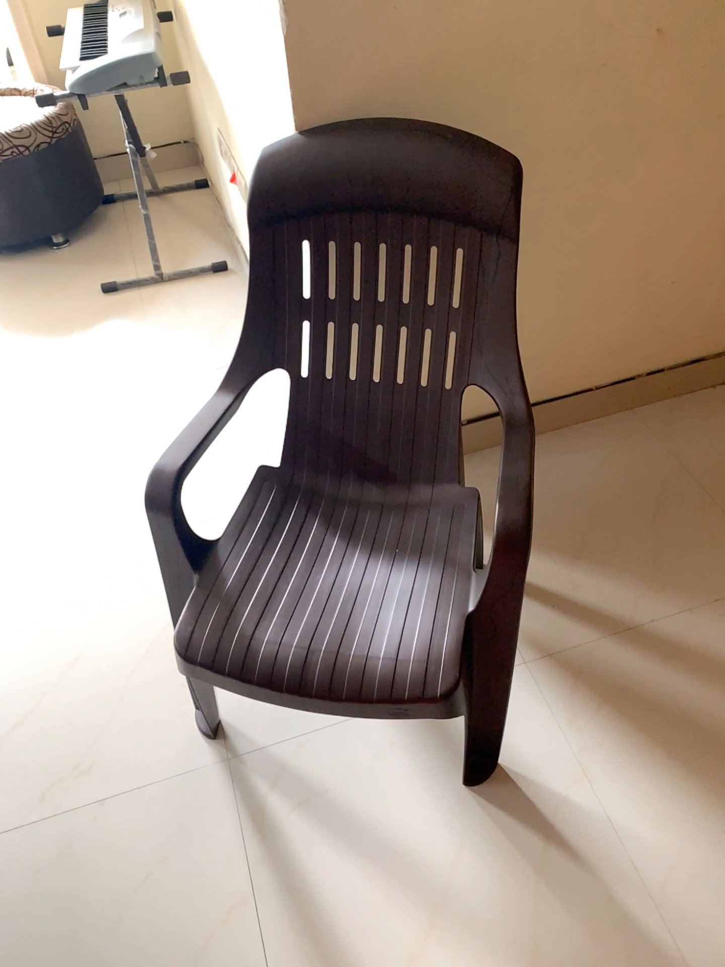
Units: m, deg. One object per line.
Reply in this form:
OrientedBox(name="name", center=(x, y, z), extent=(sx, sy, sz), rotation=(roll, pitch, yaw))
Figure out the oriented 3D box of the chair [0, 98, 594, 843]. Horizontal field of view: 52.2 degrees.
OrientedBox(name="chair", center=(-0.004, 0.014, 1.260), extent=(0.600, 1.031, 0.665), rotation=(7, 46, 12))
